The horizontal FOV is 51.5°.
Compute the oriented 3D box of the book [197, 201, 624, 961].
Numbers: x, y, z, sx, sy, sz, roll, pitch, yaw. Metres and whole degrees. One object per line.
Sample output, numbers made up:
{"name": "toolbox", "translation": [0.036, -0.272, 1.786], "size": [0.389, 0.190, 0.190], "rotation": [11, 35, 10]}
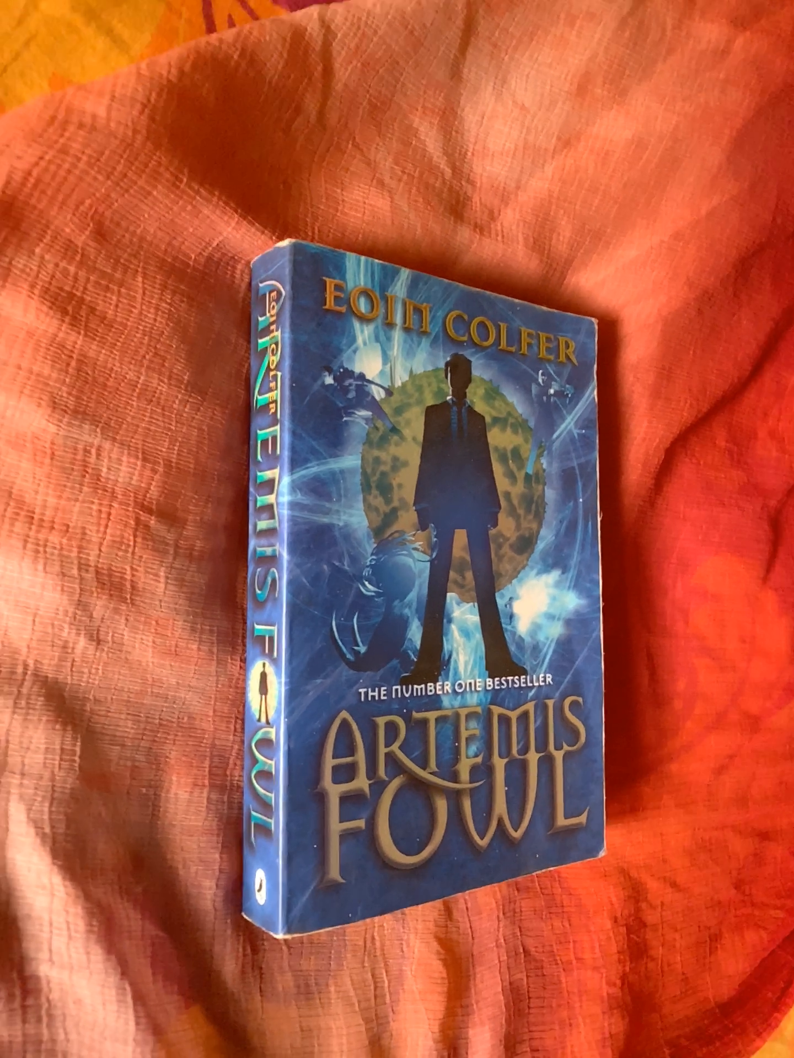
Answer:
{"name": "book", "translation": [0.011, 0.015, 0.254], "size": [0.131, 0.030, 0.190], "rotation": [3, 88, -33]}
